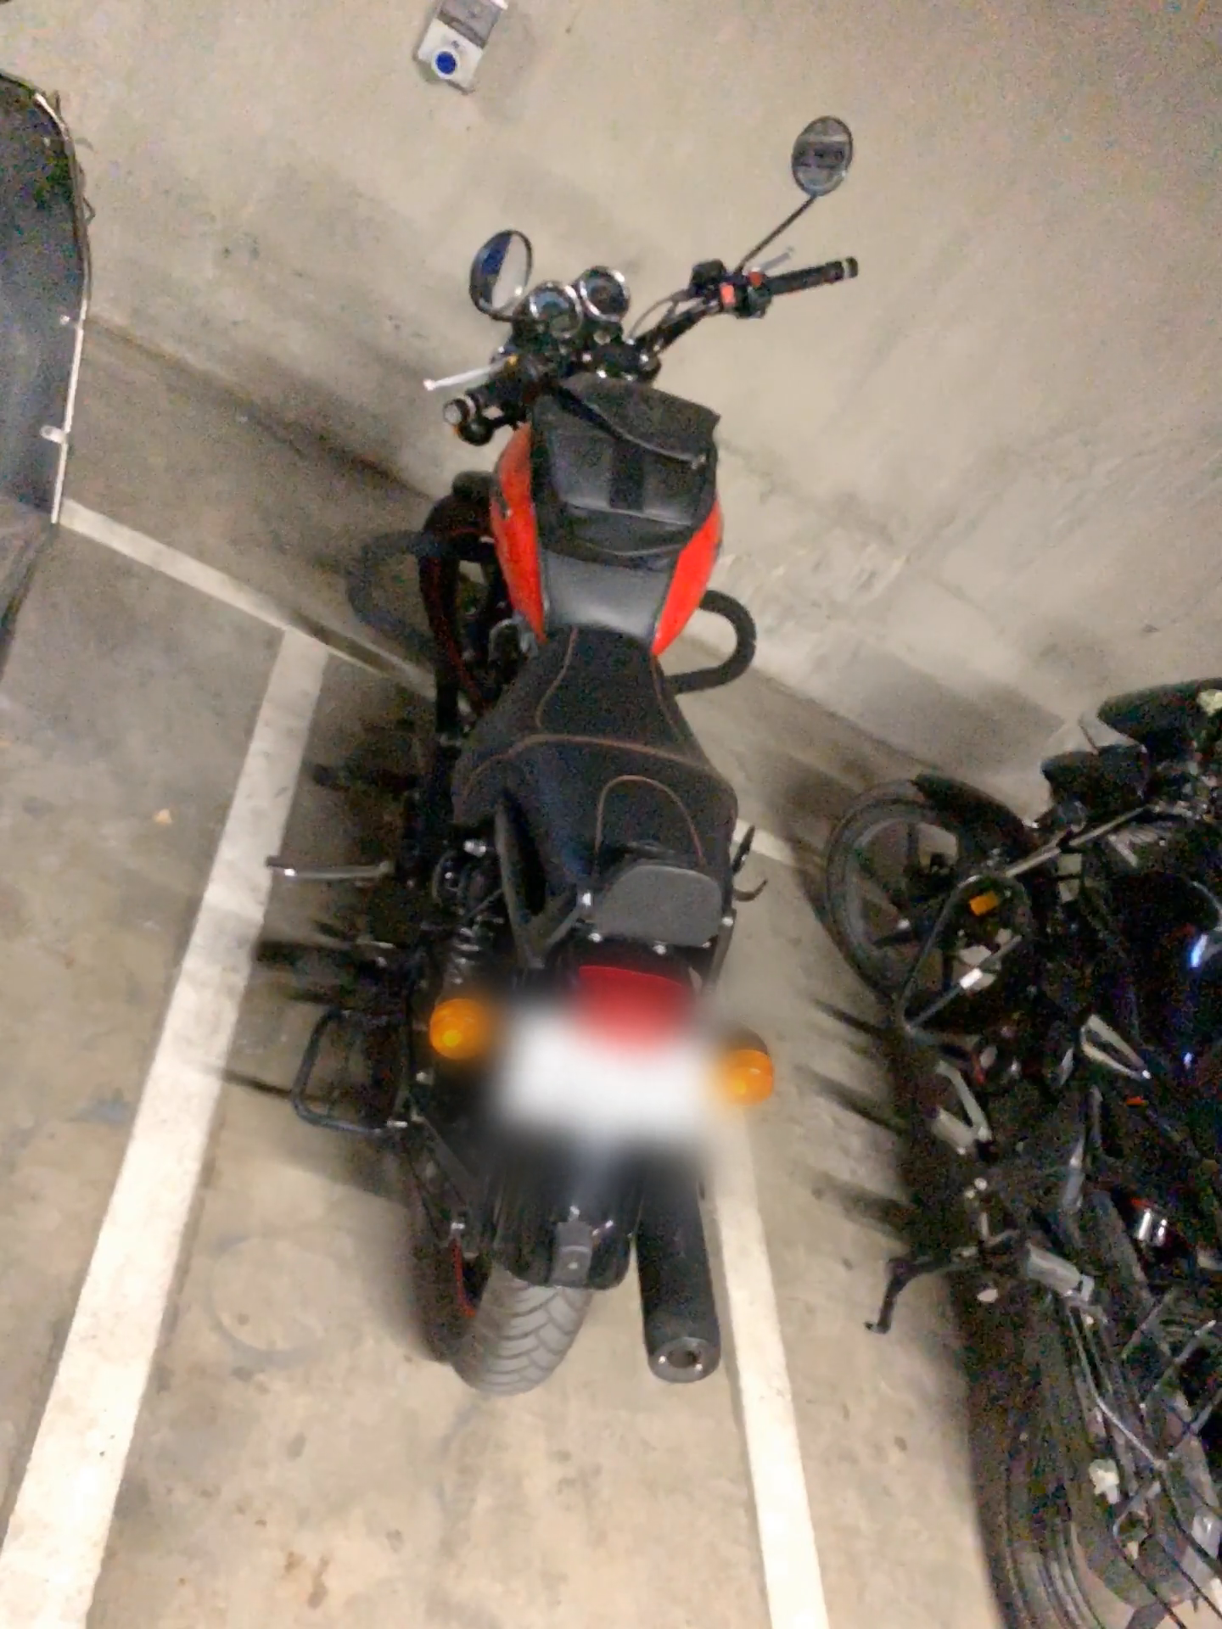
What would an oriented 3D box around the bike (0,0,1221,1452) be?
[{"bbox_3d":[-0.149,-0.351,1.880,0.830,1.301,1.840,19,37,-29],"label":"bike"}]
